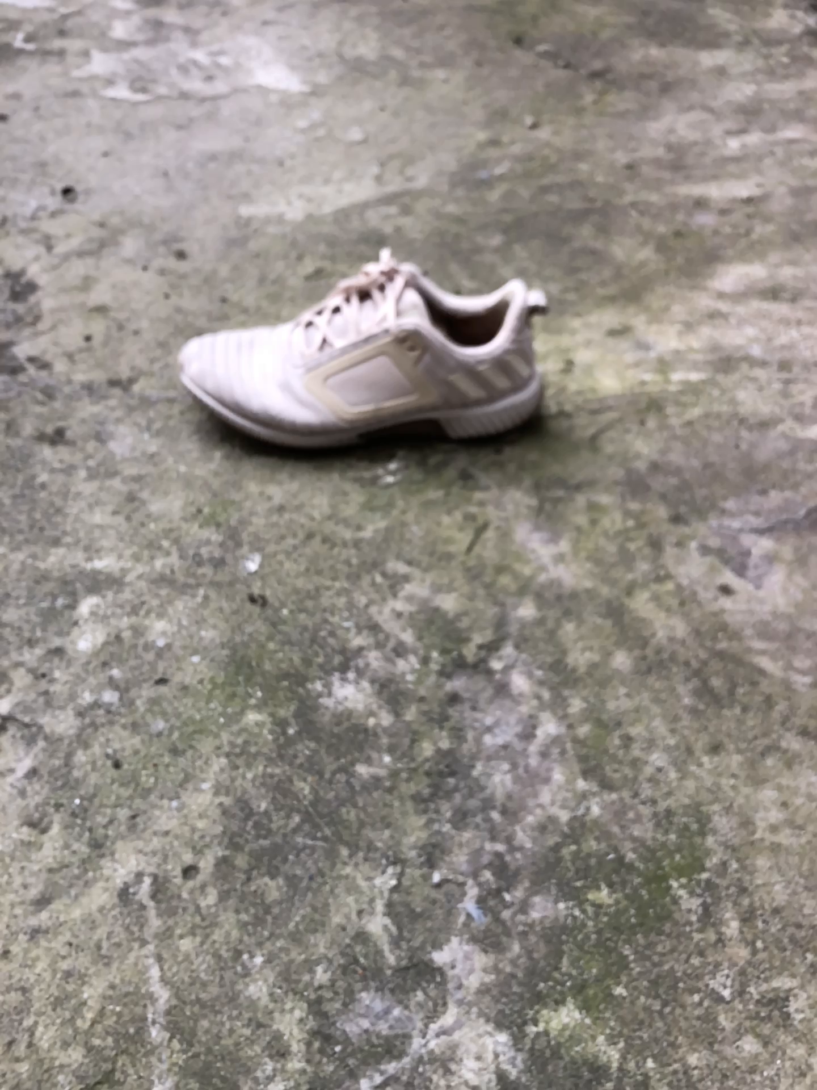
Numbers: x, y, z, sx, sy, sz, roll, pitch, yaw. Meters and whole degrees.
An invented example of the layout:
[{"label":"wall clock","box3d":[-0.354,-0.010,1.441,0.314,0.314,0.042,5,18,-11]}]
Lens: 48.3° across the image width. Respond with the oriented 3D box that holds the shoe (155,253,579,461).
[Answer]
[{"label":"shoe","box3d":[-0.036,-0.149,0.723,0.300,0.109,0.121,-1,44,-8]}]
